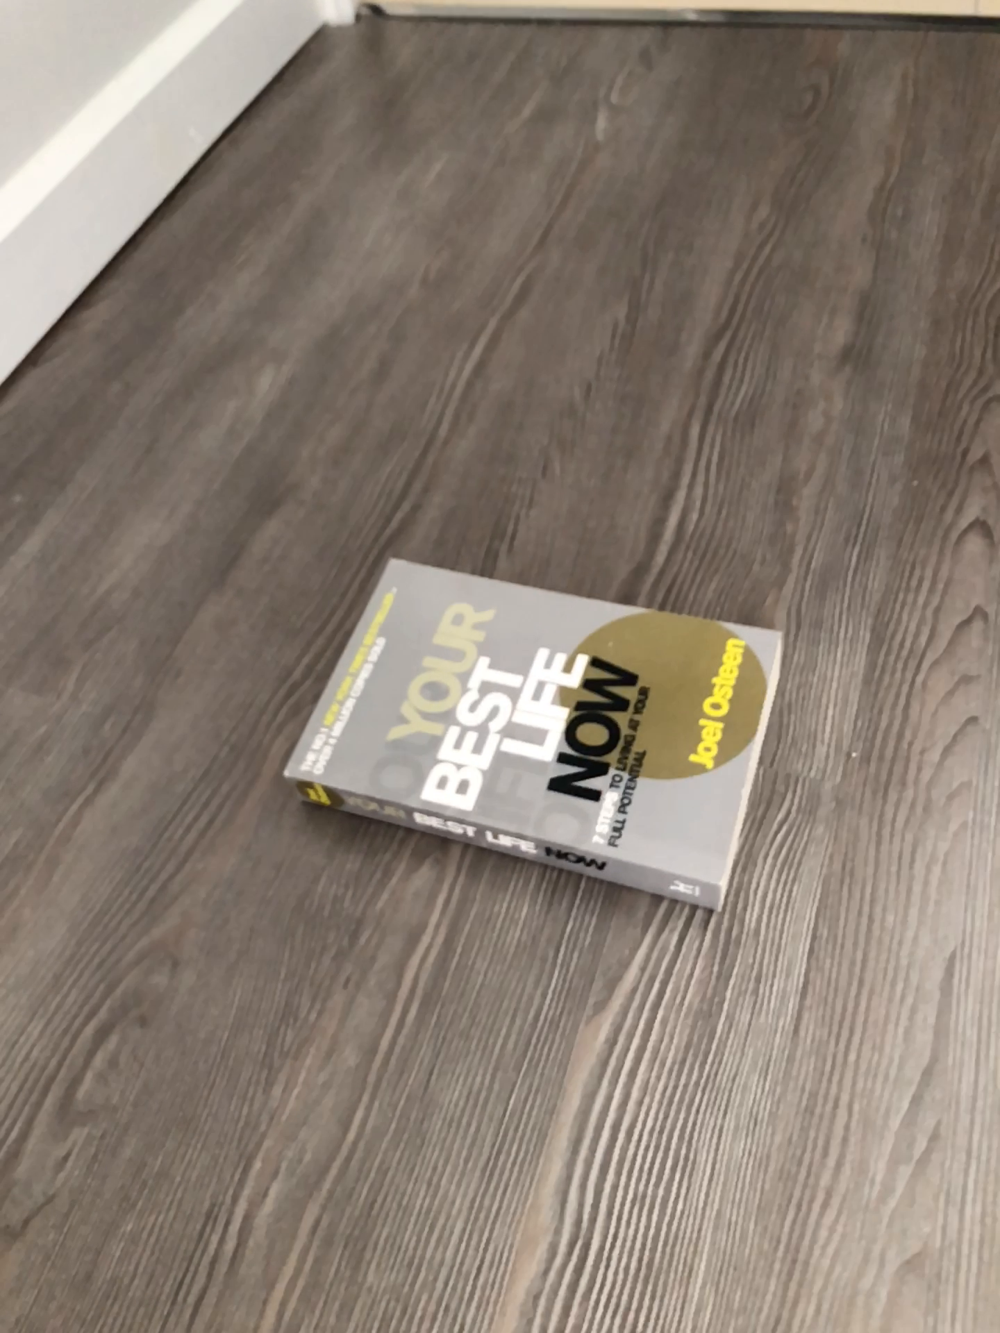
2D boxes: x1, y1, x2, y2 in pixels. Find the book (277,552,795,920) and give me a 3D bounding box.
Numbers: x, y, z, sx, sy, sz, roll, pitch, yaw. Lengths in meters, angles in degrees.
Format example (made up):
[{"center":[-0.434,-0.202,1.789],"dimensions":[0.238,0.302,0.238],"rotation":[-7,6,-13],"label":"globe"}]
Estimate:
[{"center":[0.020,0.023,0.510],"dimensions":[0.201,0.030,0.137],"rotation":[12,54,16],"label":"book"}]
